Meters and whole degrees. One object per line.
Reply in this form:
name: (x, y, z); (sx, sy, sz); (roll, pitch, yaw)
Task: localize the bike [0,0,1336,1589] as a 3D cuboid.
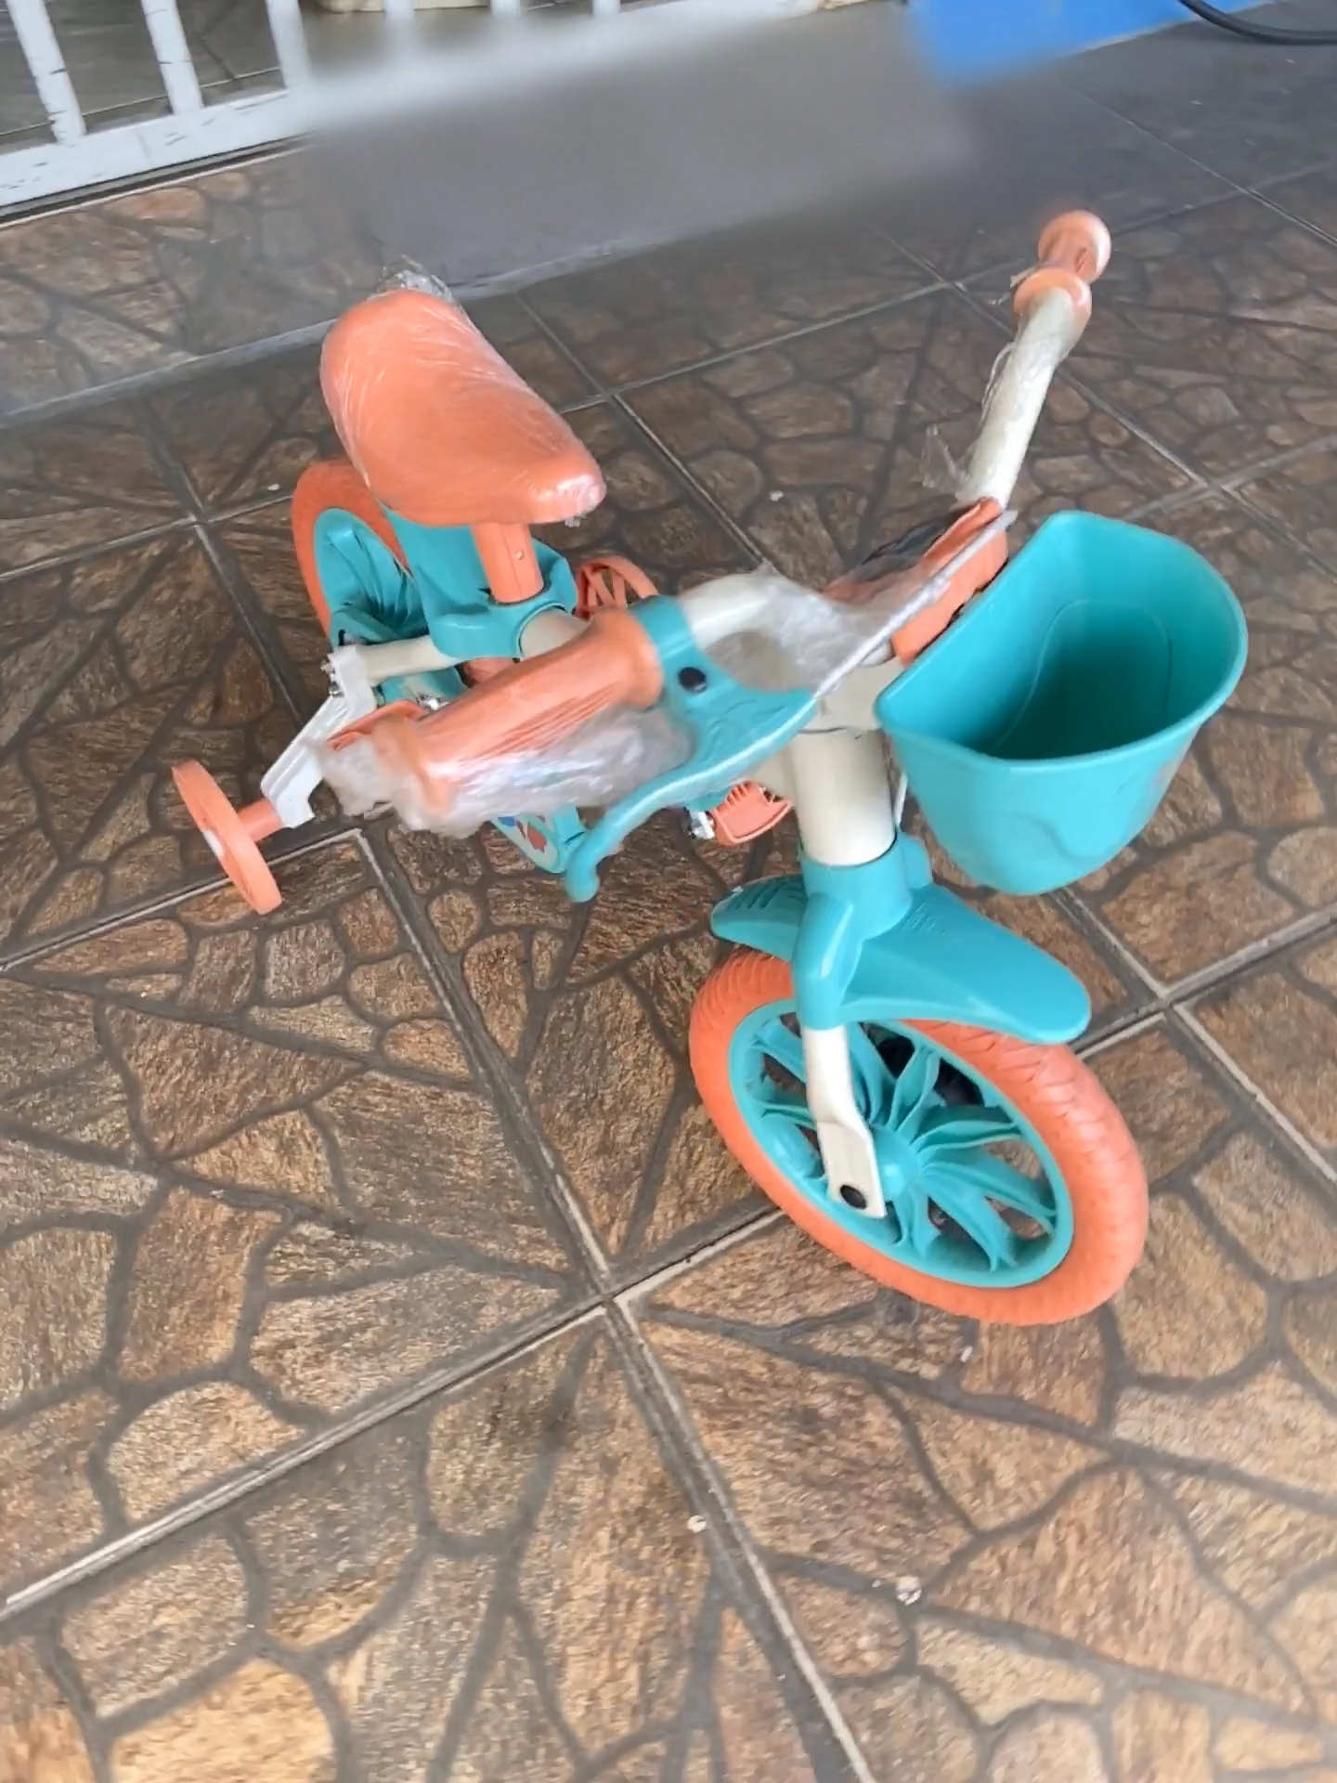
bike: (-0.015, -0.146, 0.824); (0.500, 0.534, 0.808); (-36, 56, -24)
